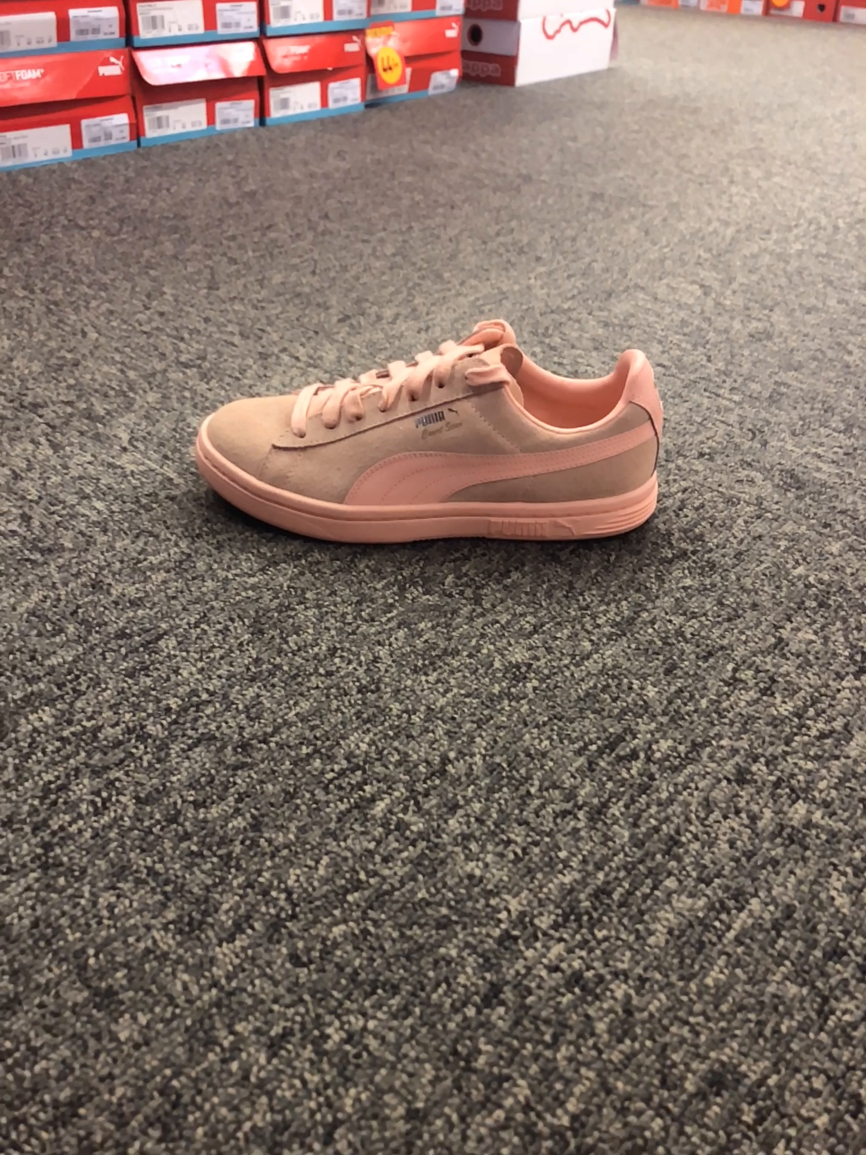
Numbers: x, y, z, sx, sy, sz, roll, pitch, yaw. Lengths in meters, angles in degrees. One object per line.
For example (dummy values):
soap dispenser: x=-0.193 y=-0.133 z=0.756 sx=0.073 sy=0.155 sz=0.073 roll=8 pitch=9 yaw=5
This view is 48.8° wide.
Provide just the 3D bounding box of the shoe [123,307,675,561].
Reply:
shoe: x=-0.010 y=-0.072 z=0.488 sx=0.253 sy=0.089 sz=0.093 roll=0 pitch=34 yaw=11
